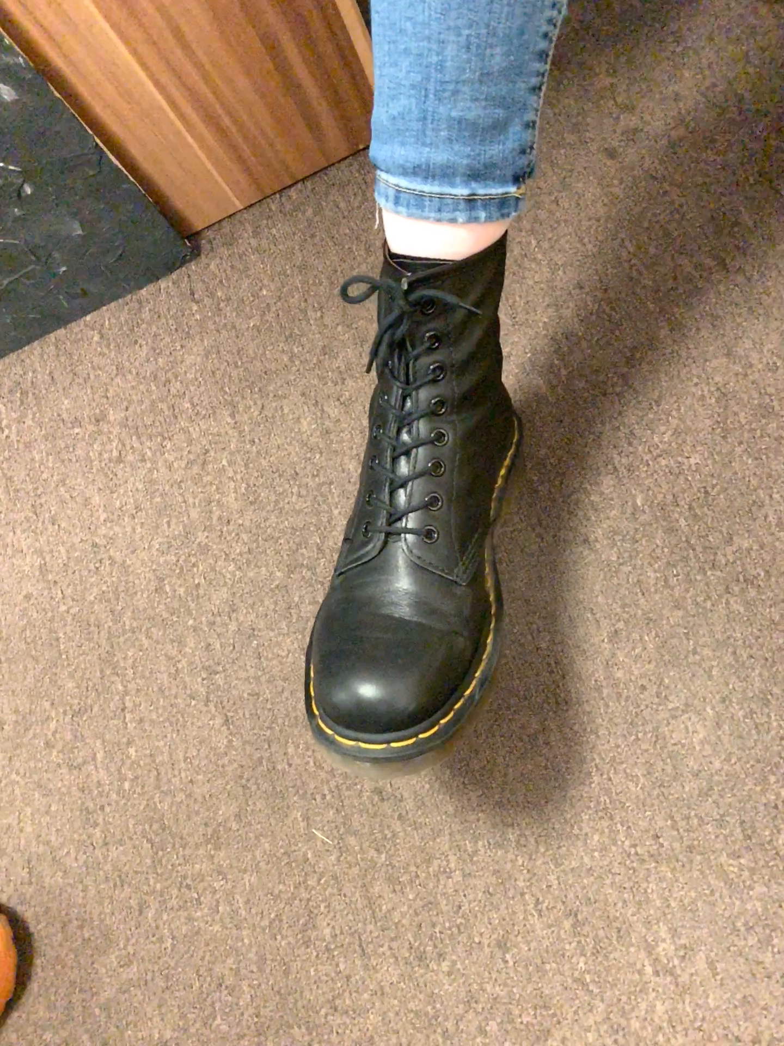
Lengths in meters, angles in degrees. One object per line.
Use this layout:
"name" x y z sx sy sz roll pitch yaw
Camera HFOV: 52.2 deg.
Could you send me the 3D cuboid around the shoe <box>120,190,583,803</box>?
"shoe" 0.014 -0.036 0.422 0.120 0.150 0.290 8 48 20
